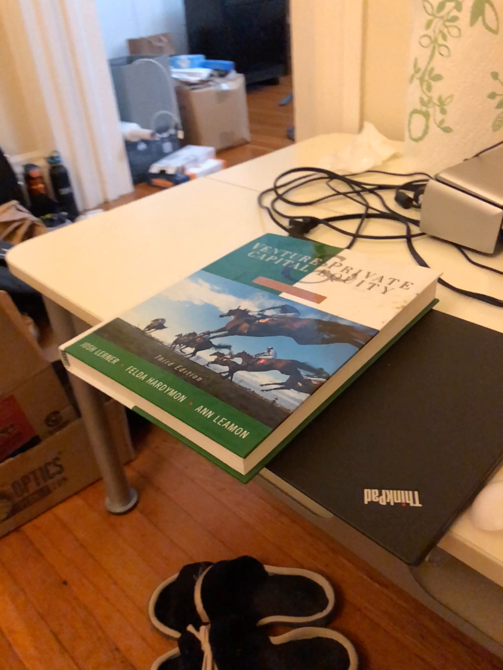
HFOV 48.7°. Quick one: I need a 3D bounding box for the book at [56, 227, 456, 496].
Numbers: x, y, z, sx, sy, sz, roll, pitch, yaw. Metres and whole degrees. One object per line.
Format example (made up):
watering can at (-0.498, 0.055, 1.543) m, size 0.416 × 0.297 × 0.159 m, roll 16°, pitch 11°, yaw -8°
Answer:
book at (0.010, -0.010, 0.485) m, size 0.220 × 0.030 × 0.271 m, roll 23°, pitch 44°, yaw 36°
